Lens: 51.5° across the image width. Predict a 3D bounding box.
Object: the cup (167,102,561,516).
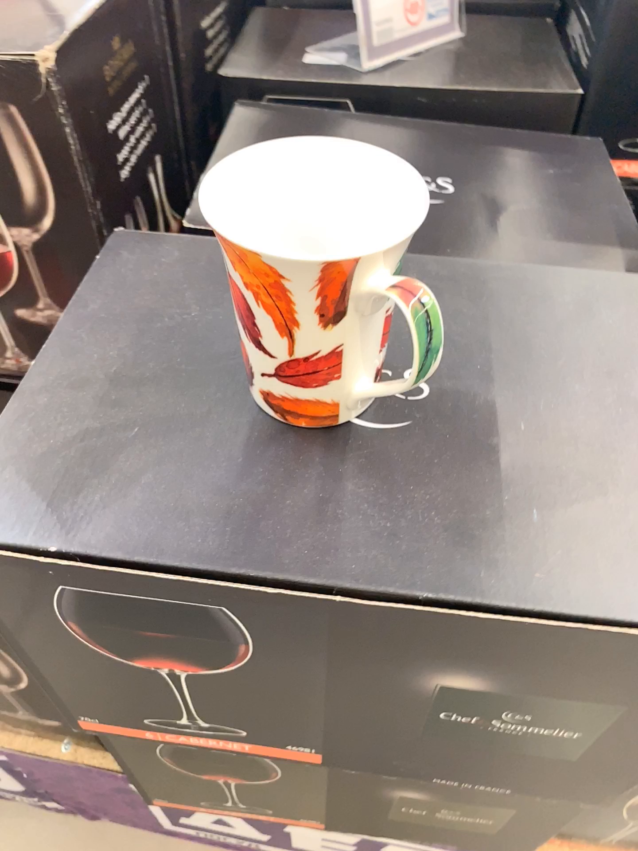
[{"bbox_3d":[0.011,-0.053,0.277,0.090,0.100,0.120,-25,53,-22],"label":"cup"}]
